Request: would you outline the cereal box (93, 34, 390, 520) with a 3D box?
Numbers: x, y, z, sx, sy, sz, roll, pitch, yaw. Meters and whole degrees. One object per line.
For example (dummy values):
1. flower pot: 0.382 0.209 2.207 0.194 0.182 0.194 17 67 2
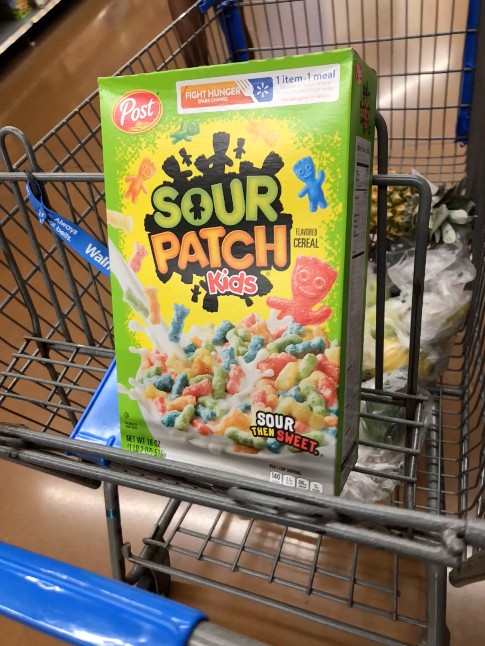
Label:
1. cereal box: -0.002 -0.032 0.426 0.200 0.320 0.080 6 15 25
